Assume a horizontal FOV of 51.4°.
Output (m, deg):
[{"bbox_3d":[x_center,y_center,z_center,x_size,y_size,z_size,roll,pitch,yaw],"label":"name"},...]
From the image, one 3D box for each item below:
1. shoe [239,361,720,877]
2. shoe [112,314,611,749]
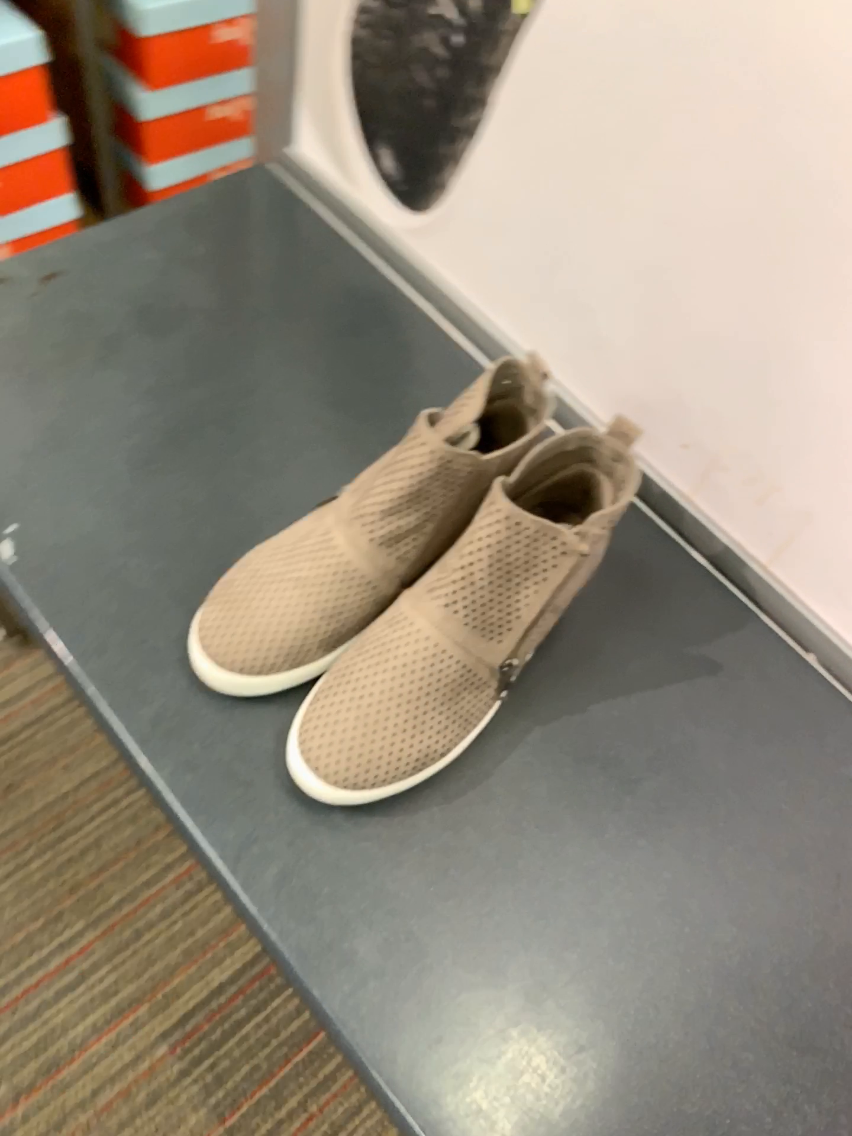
[{"bbox_3d":[0.028,0.023,0.483,0.100,0.140,0.251,40,60,14],"label":"shoe"},{"bbox_3d":[-0.035,-0.025,0.521,0.250,0.140,0.100,-30,69,-26],"label":"shoe"}]
